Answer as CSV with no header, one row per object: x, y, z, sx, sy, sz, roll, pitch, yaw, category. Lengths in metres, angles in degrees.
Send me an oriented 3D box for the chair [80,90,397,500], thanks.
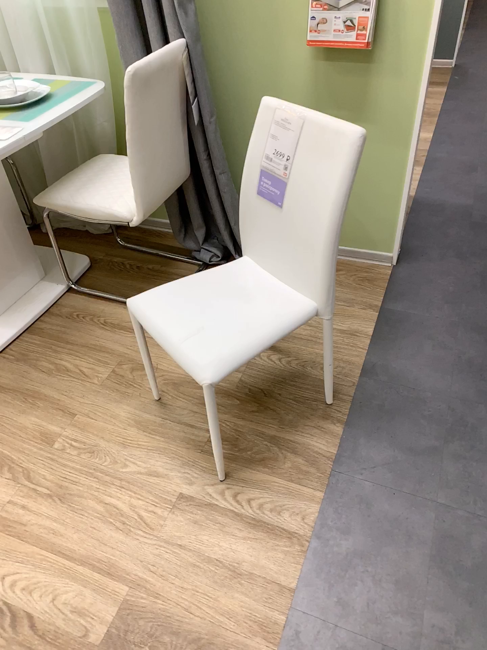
0.007,-0.065,1.419,0.551,0.925,0.452,-28,47,-25,chair

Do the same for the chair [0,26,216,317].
-0.502,-0.590,1.981,0.560,0.945,0.452,13,44,19,chair
